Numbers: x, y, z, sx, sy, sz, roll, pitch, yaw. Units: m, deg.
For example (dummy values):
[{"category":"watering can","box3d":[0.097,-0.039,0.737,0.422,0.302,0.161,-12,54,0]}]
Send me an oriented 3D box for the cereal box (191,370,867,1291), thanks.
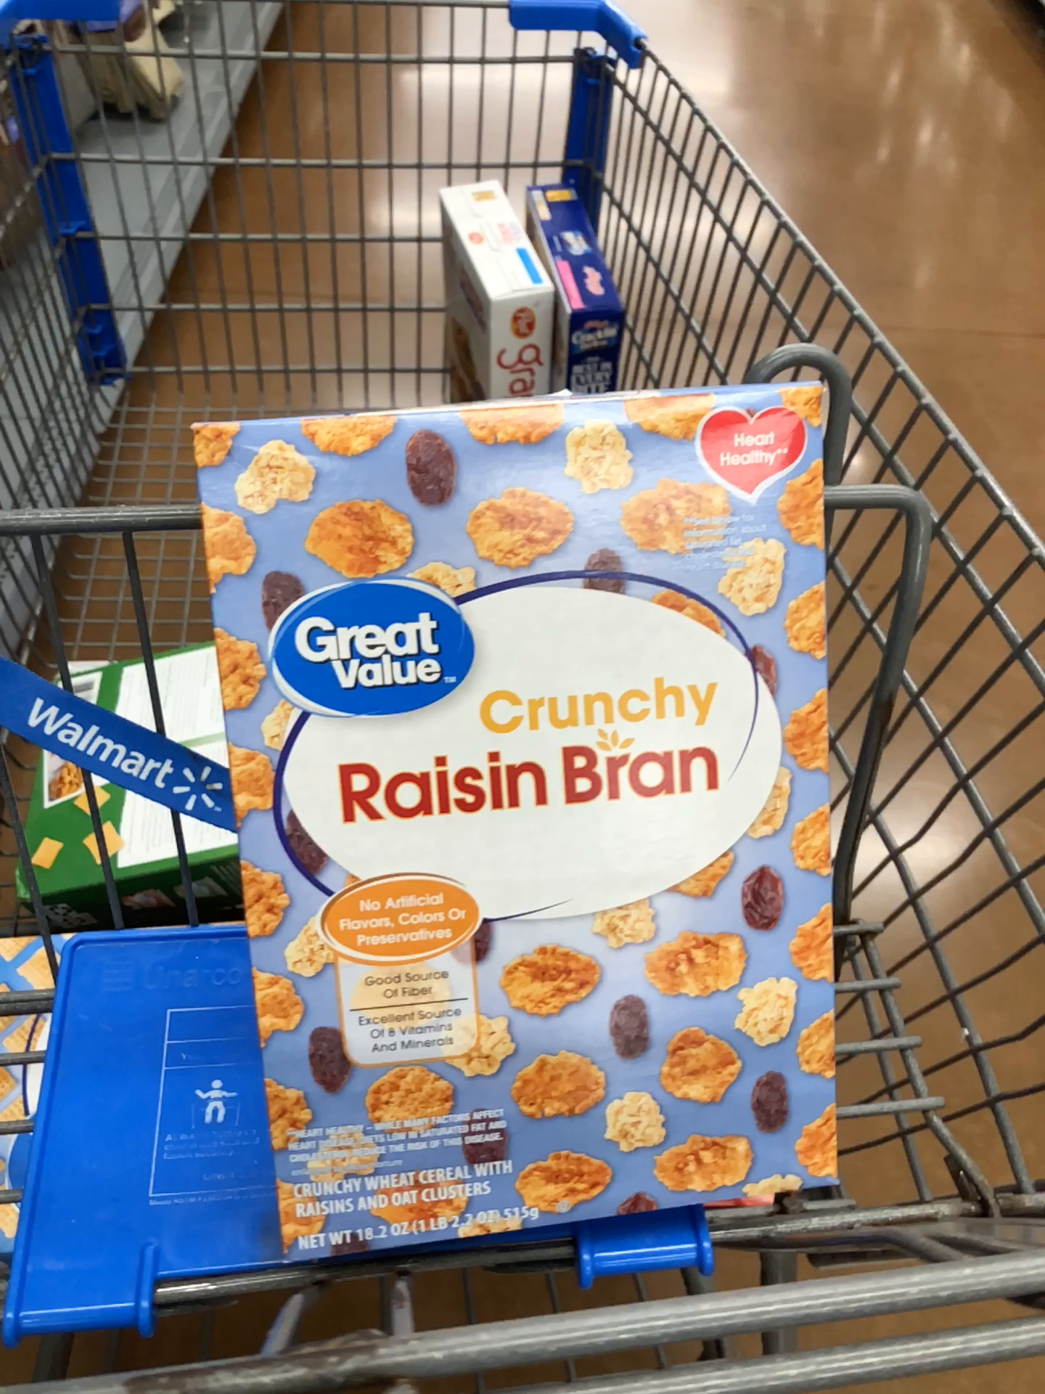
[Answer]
[{"category":"cereal box","box3d":[0.007,0.040,0.401,0.200,0.280,0.070,-5,8,-9]}]
